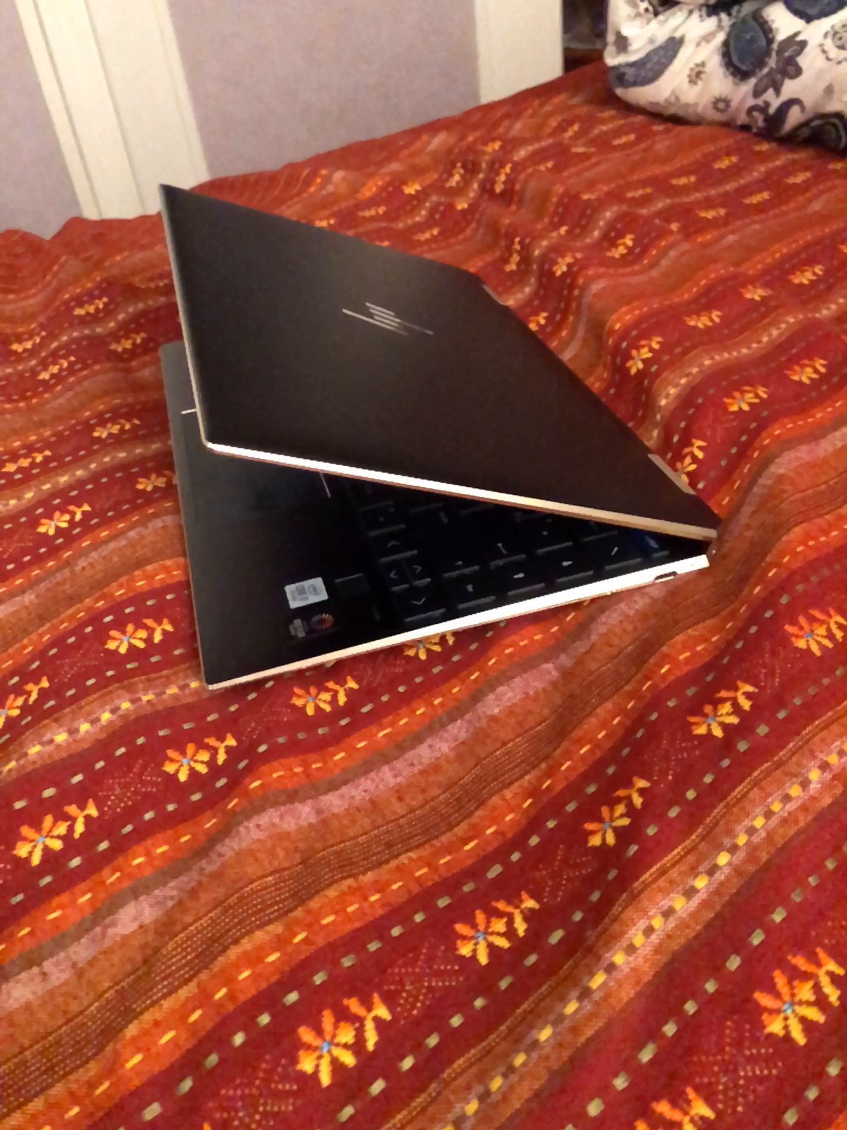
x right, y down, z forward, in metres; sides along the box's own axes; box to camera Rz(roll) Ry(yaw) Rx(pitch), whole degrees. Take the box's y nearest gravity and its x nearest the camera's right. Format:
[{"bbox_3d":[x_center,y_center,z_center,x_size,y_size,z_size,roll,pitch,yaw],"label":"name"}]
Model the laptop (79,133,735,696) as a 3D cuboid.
[{"bbox_3d":[-0.026,-0.110,0.435,0.202,0.101,0.327,-12,34,-11],"label":"laptop"}]
